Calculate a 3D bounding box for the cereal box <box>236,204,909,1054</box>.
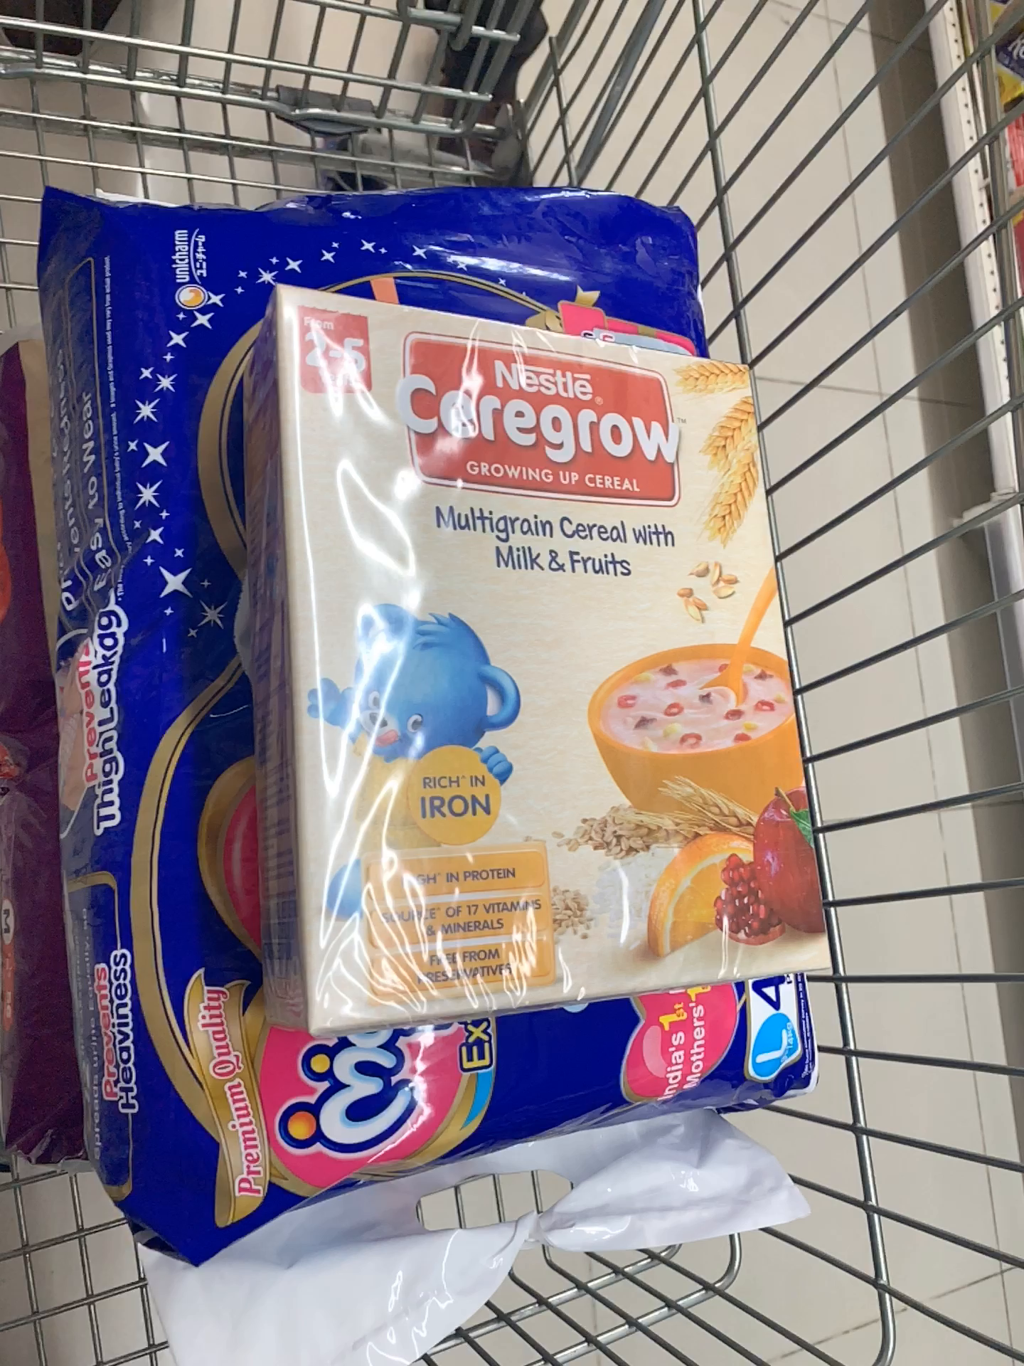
[{"bbox_3d":[0.014,-0.013,0.283,0.160,0.050,0.190,1,77,-25],"label":"cereal box"}]
